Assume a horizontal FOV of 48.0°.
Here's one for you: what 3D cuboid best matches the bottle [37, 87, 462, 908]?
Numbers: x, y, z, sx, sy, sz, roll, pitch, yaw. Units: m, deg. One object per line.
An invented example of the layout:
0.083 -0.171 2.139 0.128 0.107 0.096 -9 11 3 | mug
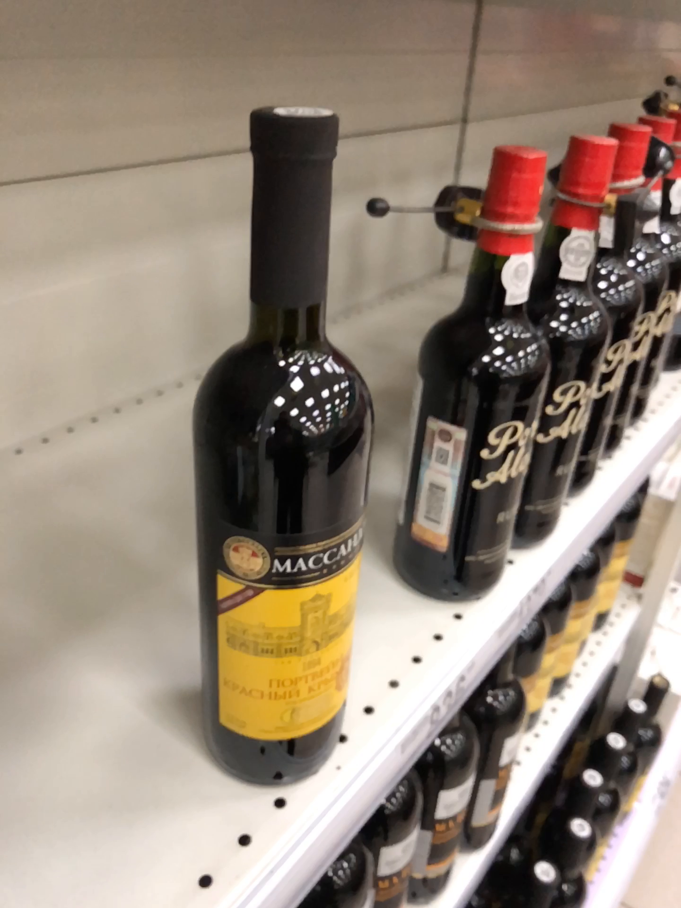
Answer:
-0.041 0.036 0.338 0.100 0.348 0.100 3 30 -2 | bottle
